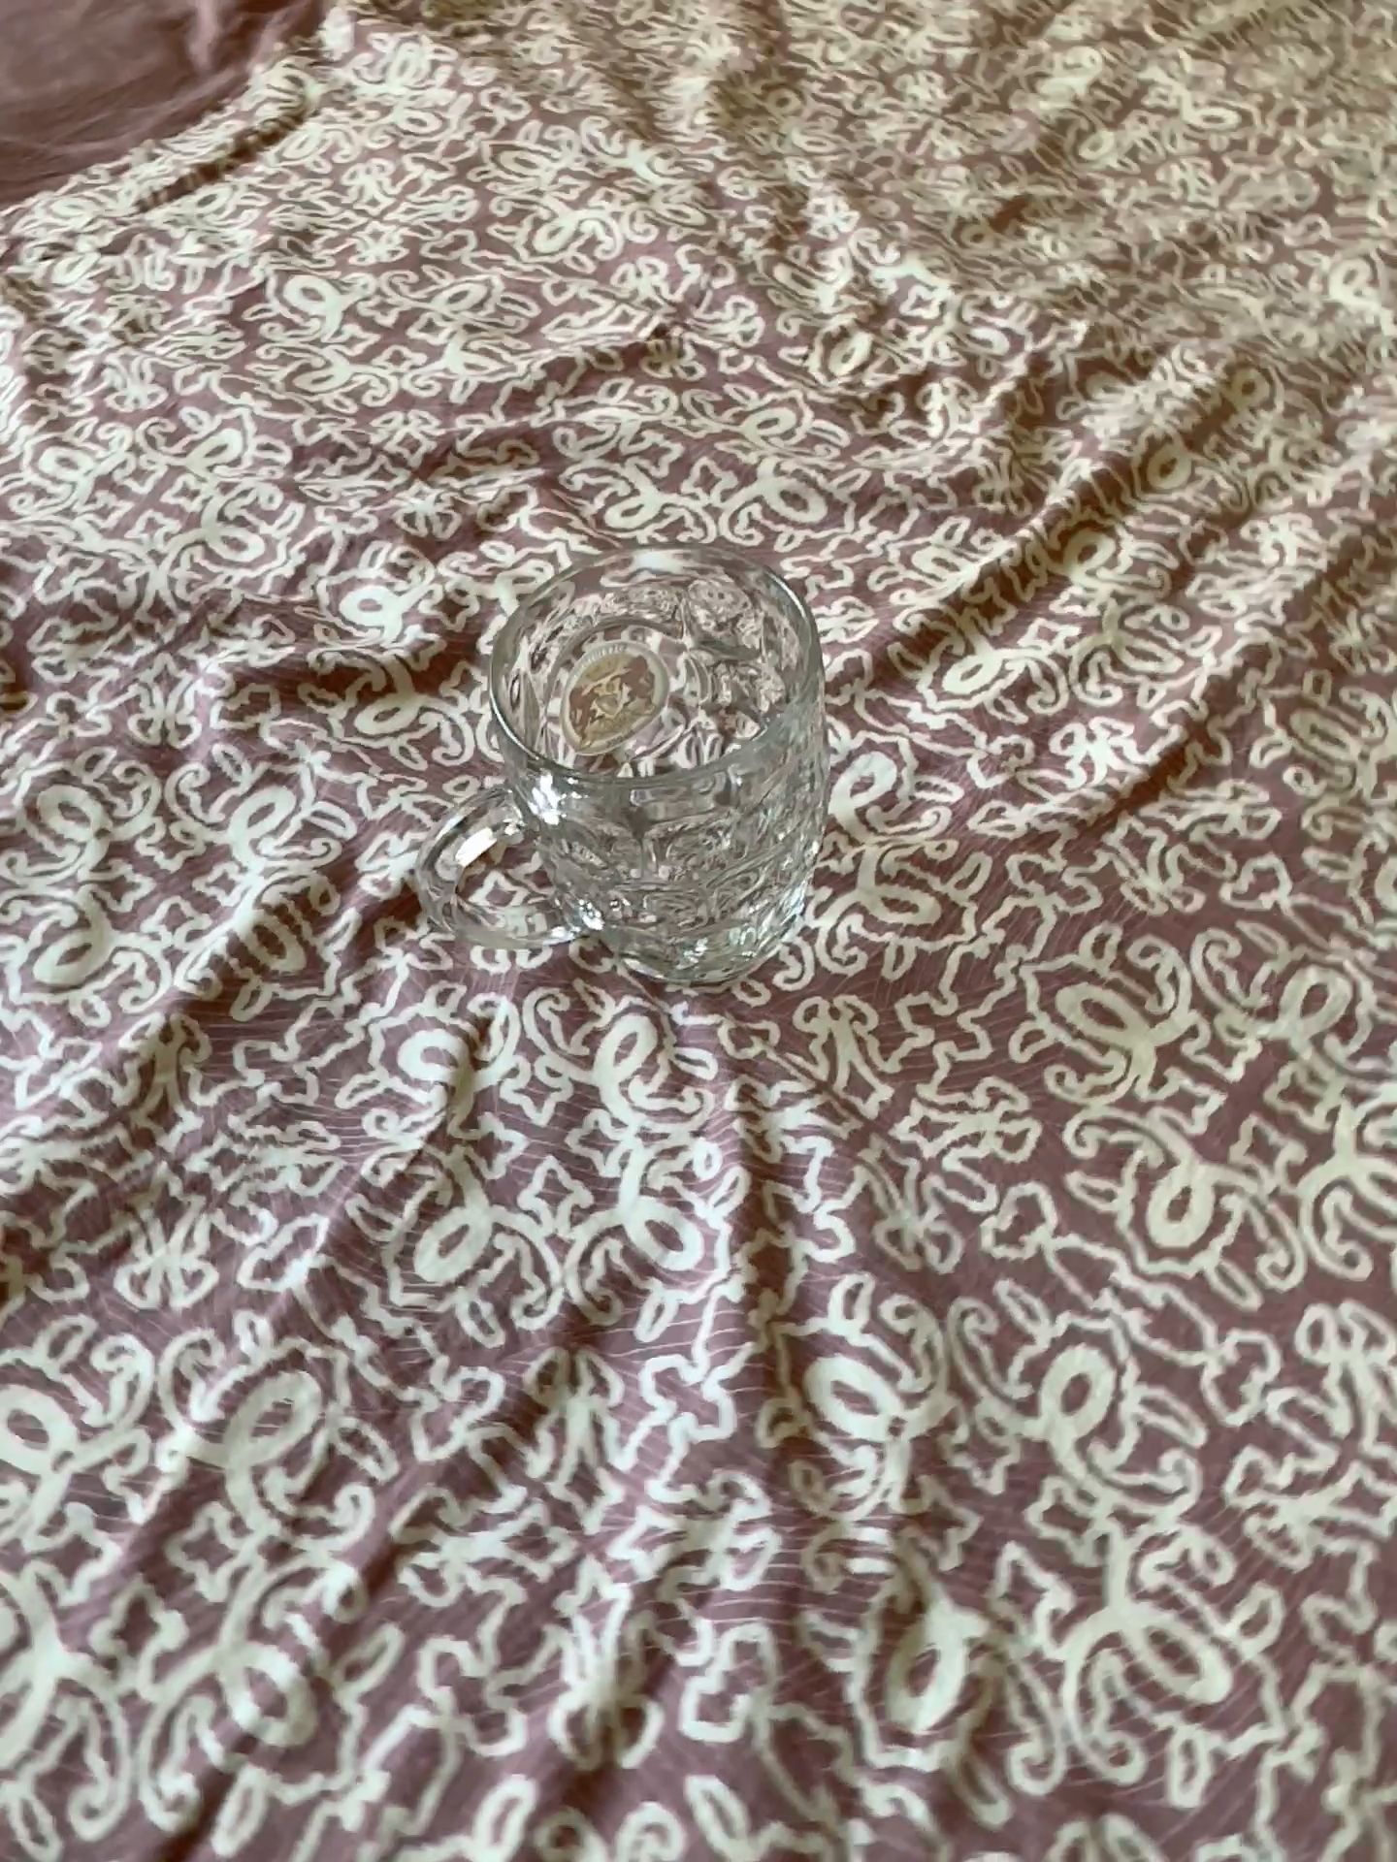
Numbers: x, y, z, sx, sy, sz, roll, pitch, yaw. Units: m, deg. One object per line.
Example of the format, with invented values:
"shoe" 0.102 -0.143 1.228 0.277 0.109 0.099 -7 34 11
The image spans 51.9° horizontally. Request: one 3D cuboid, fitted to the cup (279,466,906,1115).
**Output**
"cup" -0.027 -0.040 0.404 0.130 0.109 0.090 -27 56 -20
